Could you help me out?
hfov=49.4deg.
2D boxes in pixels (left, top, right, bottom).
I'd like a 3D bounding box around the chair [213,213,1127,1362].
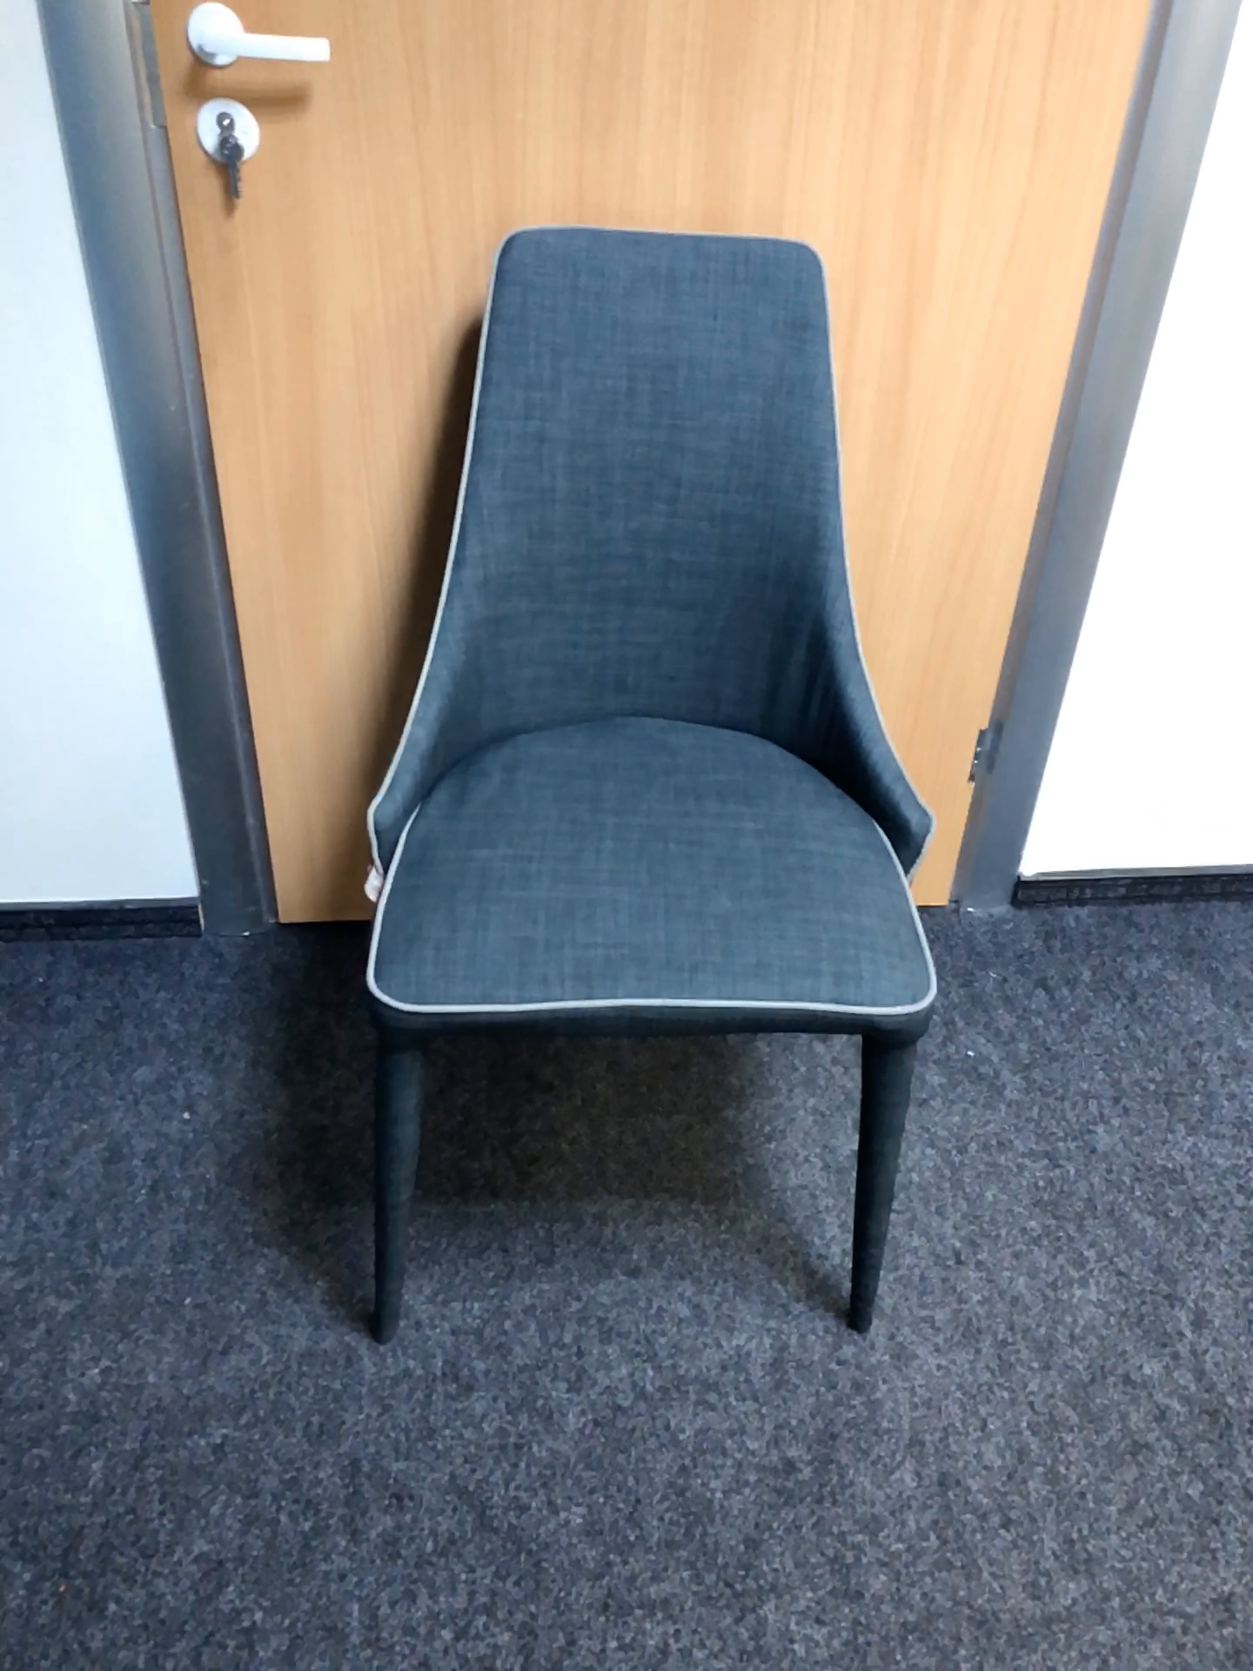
[{"bbox_3d":[-0.001,-0.051,1.277,0.520,0.844,0.644,0,36,-4],"label":"chair"}]
